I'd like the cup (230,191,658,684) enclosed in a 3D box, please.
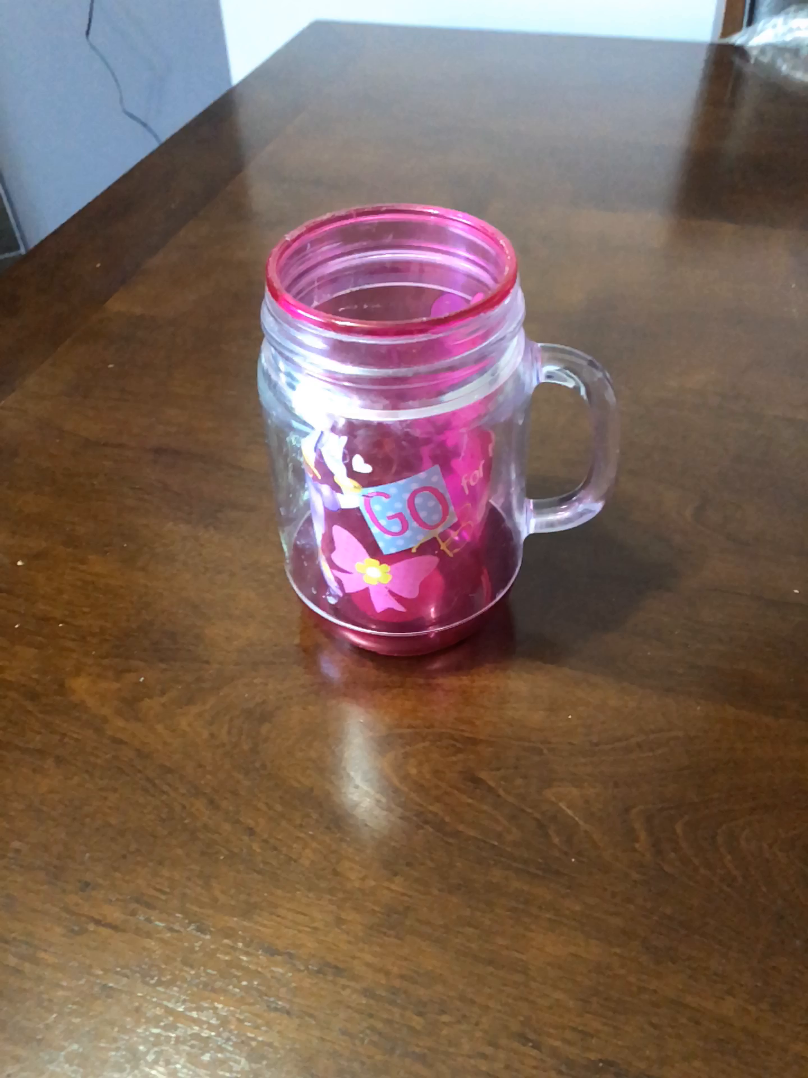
[{"bbox_3d":[0.012,-0.031,0.335,0.120,0.159,0.080,-4,44,-1],"label":"cup"}]
